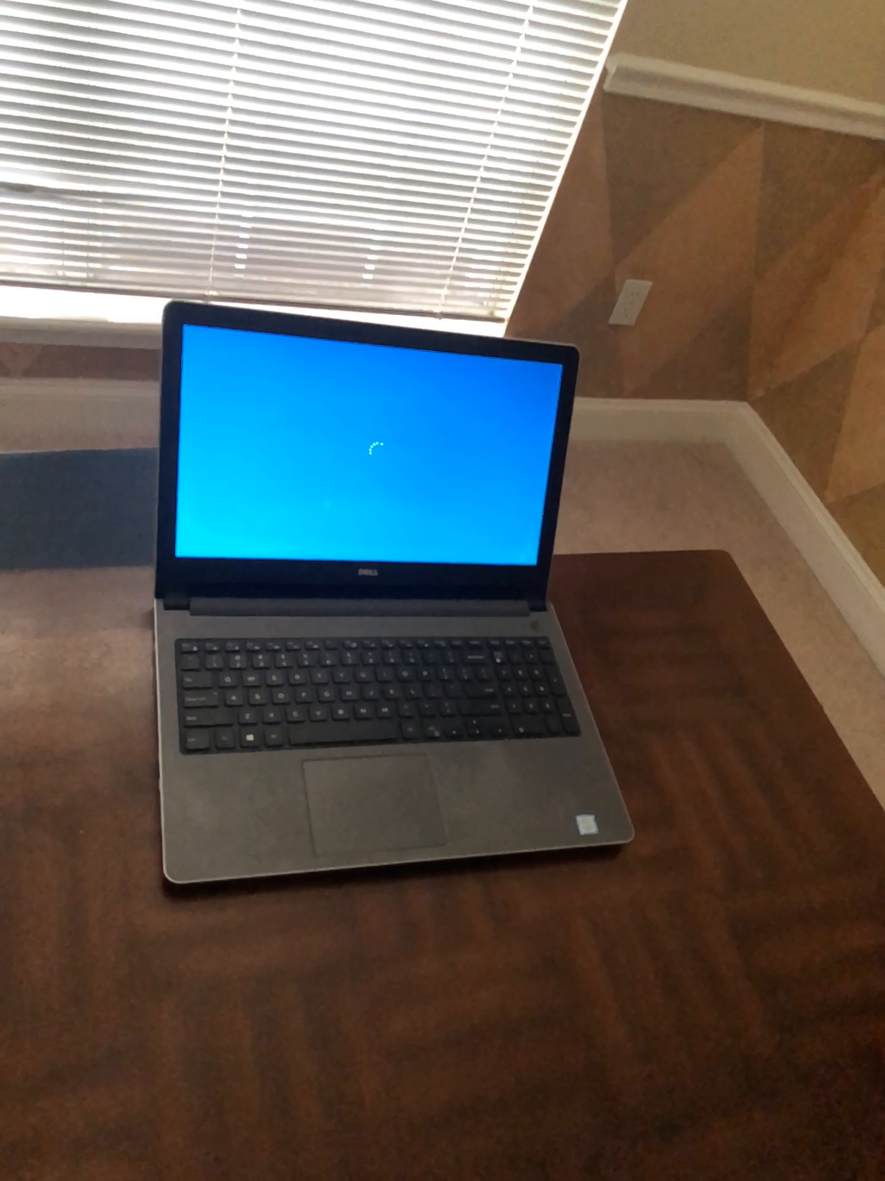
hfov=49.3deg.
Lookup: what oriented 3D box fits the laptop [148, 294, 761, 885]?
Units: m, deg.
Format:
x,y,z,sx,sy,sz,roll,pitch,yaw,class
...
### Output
x,y,z,sx,sy,sz,roll,pitch,yaw,class
-0.030,-0.012,0.768,0.367,0.199,0.393,1,50,-21,laptop
